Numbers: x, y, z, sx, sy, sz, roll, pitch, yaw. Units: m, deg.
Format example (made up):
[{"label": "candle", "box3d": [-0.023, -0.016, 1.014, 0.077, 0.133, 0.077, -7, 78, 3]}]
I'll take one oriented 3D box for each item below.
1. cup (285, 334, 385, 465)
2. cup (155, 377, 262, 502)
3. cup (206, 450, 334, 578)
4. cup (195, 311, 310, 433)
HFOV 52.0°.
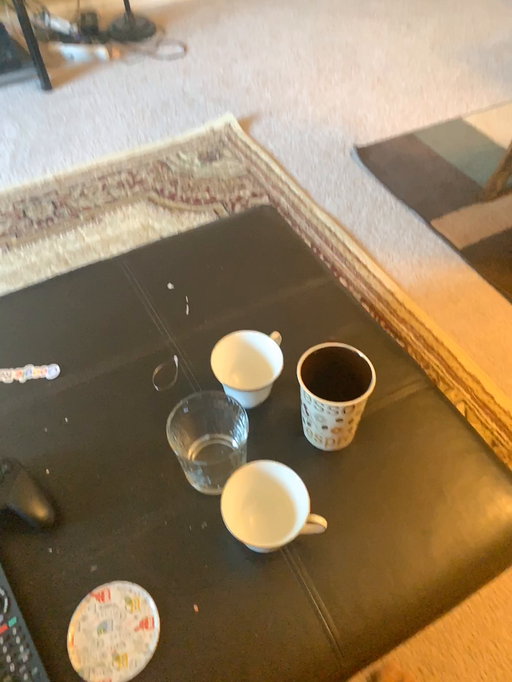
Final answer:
[{"label": "cup", "box3d": [0.093, 0.071, 0.627, 0.100, 0.109, 0.100, 0, 52, 0]}, {"label": "cup", "box3d": [-0.050, 0.118, 0.626, 0.100, 0.100, 0.100, 0, 52, 0]}, {"label": "cup", "box3d": [0.018, 0.185, 0.566, 0.120, 0.060, 0.100, 7, 53, 6]}, {"label": "cup", "box3d": [-0.004, 0.038, 0.672, 0.090, 0.070, 0.110, 37, 61, 25]}]
